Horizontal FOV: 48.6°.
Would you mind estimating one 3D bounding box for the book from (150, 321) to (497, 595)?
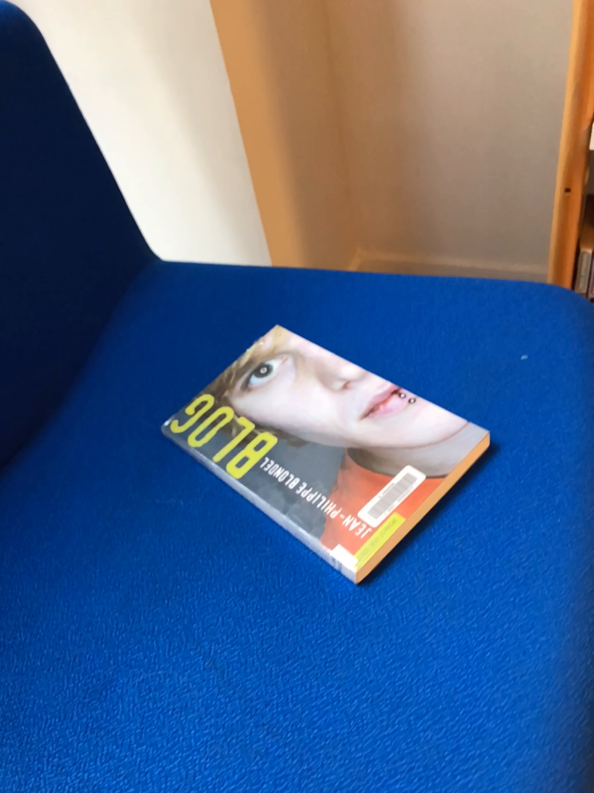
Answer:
[{"bbox_3d":[0.011,0.027,0.486,0.143,0.018,0.220,-40,48,-23],"label":"book"}]
